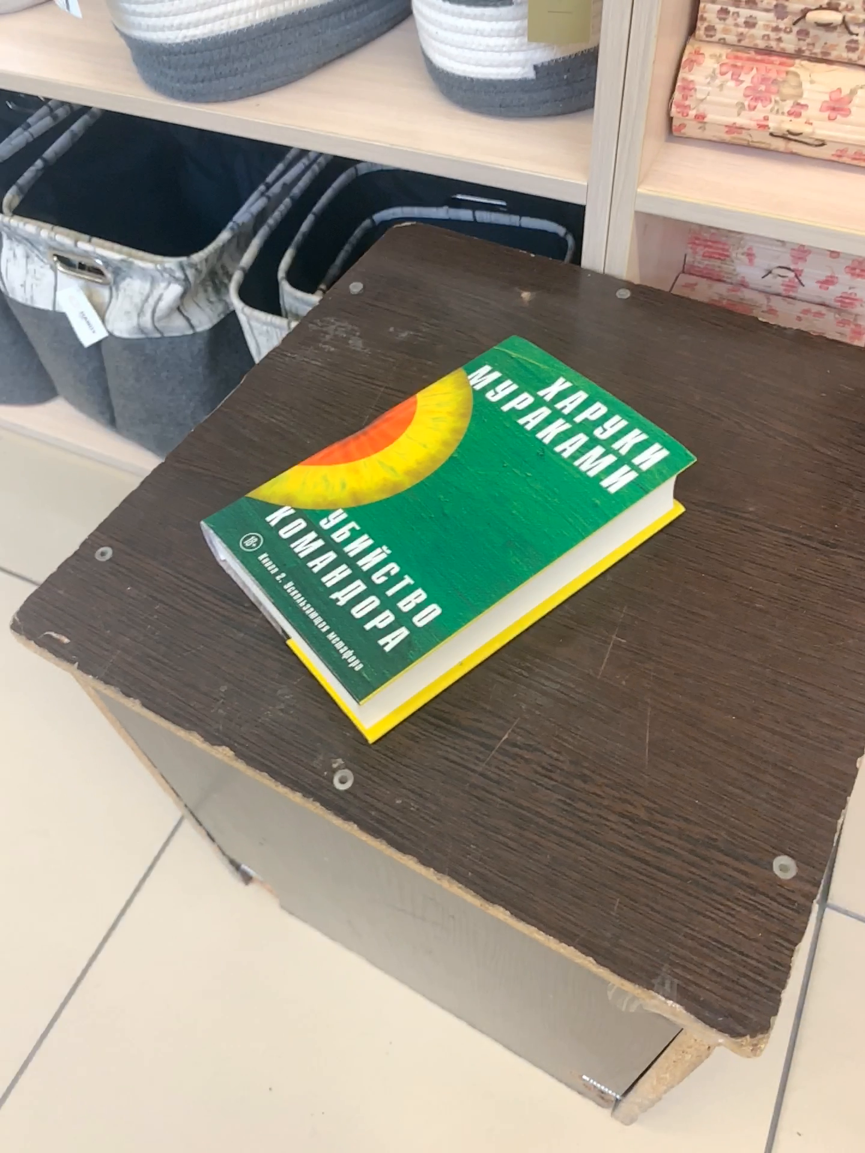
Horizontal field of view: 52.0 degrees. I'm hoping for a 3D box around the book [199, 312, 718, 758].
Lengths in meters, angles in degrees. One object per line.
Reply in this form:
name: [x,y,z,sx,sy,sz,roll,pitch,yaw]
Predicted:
book: [0.014,-0.034,0.469,0.217,0.050,0.150,-35,59,-17]
